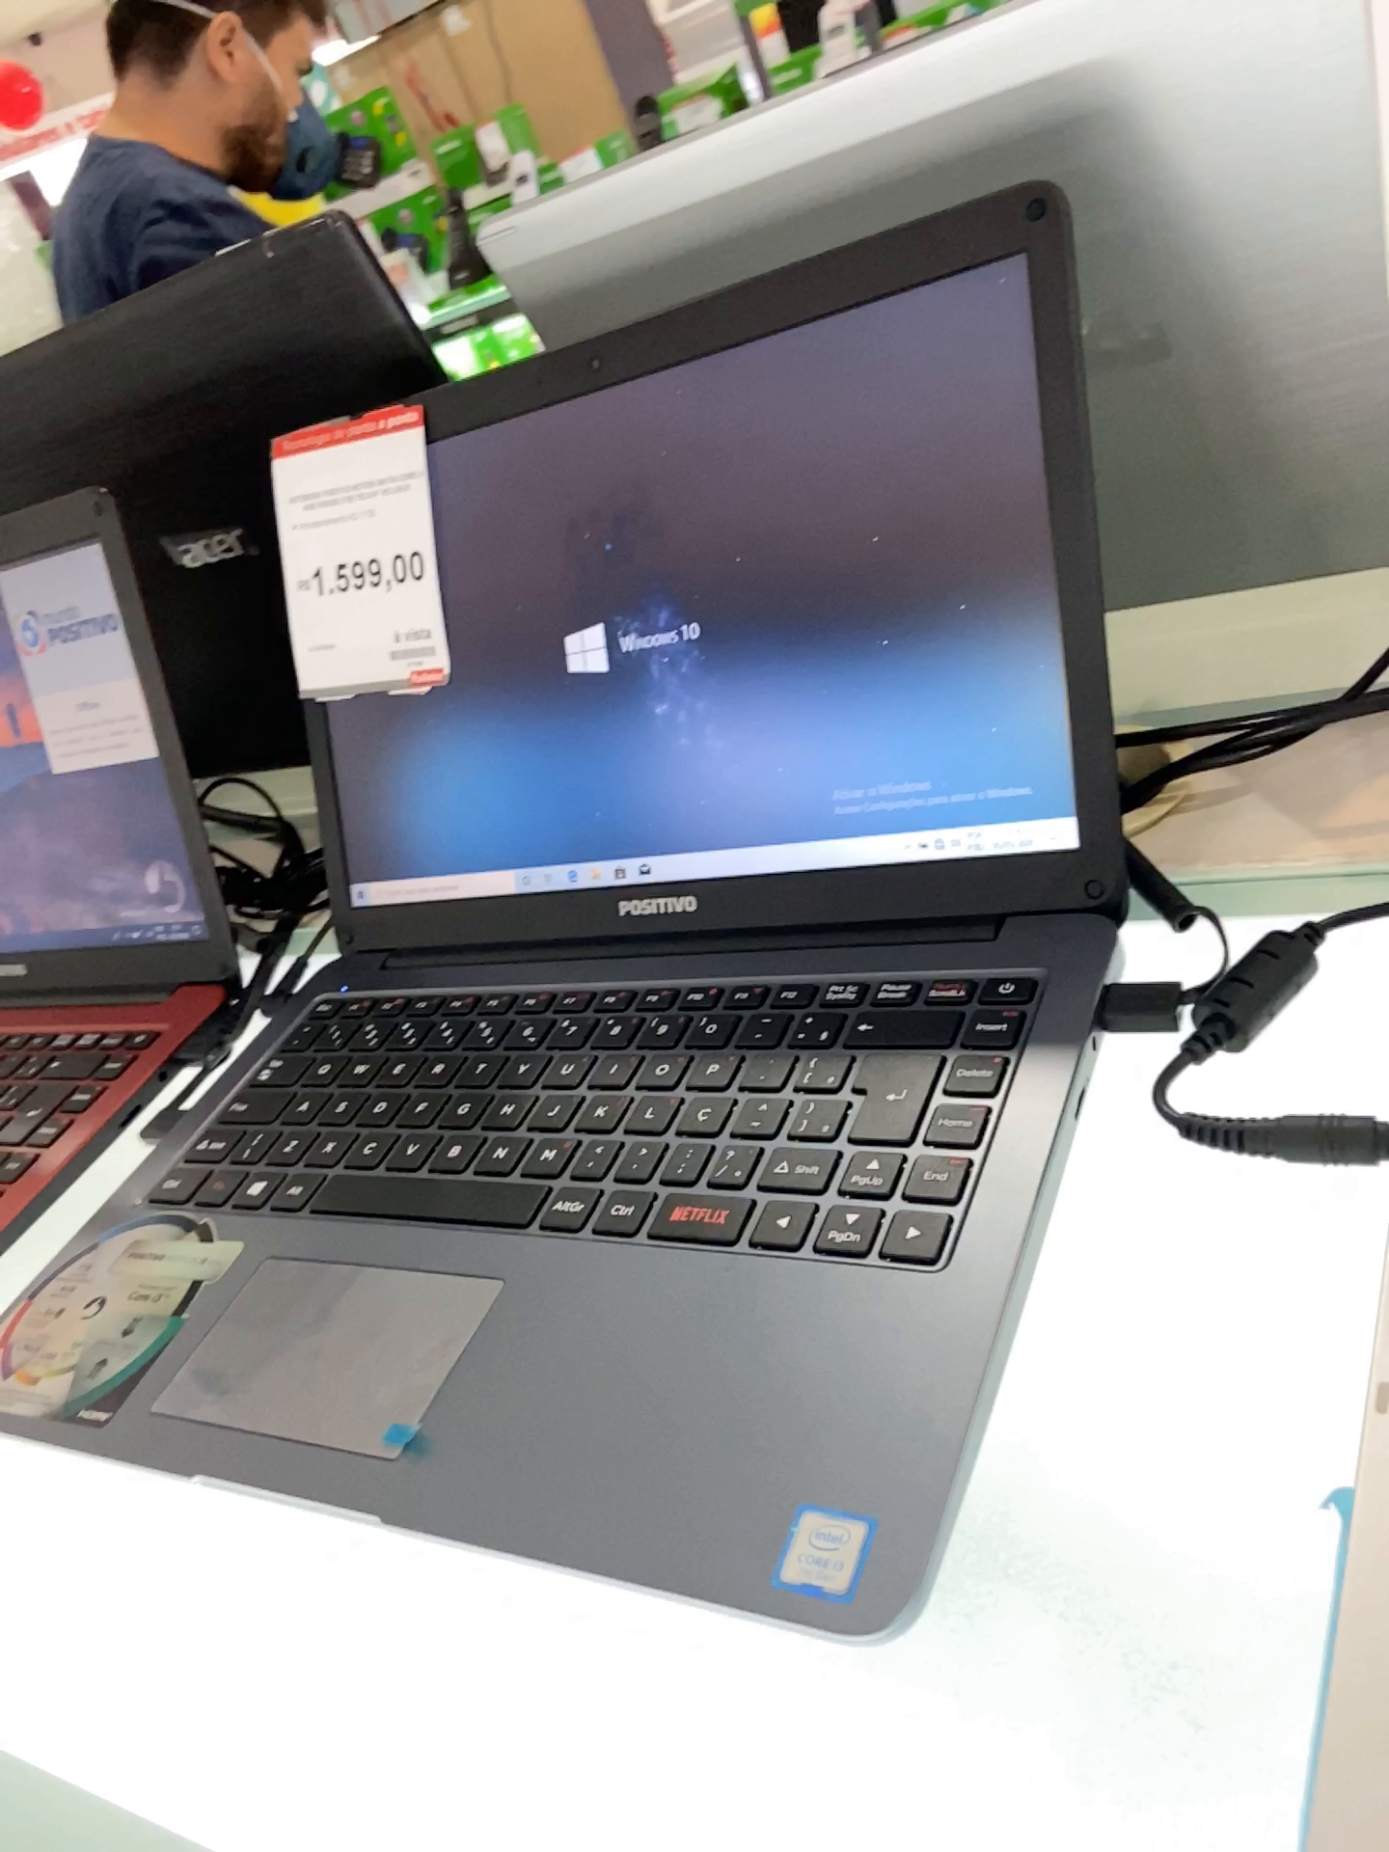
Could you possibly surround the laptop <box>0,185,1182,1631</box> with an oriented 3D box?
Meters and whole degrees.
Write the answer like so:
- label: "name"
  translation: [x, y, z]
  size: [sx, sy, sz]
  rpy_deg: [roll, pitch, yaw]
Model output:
- label: "laptop"
  translation: [-0.067, -0.029, 0.415]
  size: [0.319, 0.171, 0.325]
  rpy_deg: [-4, 36, 33]
